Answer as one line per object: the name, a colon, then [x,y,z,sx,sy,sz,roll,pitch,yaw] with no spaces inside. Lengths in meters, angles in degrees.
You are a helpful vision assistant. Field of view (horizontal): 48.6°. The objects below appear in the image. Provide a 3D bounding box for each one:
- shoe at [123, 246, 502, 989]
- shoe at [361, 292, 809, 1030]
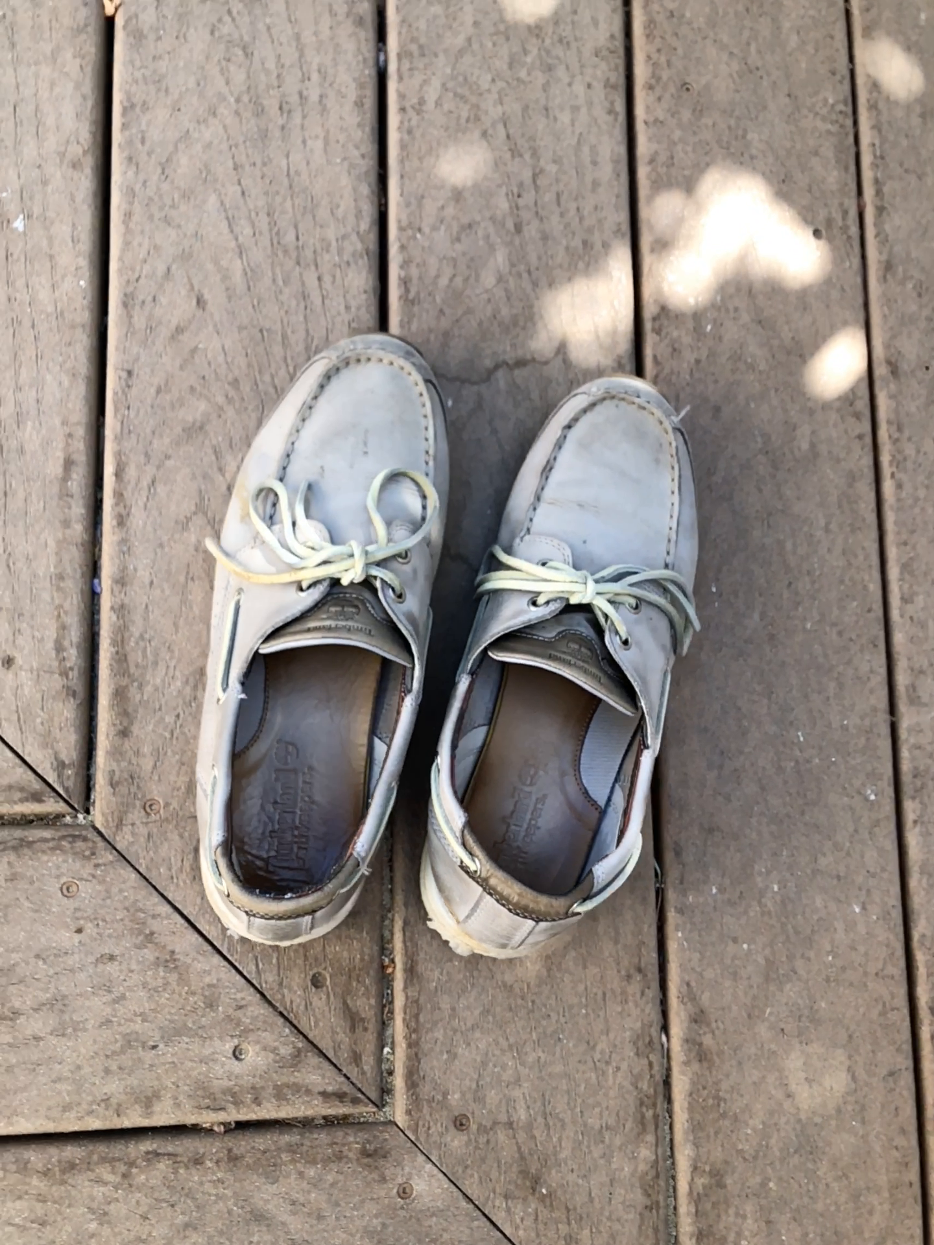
shoe: [-0.069,-0.001,0.492,0.119,0.096,0.310,8,80,-9]
shoe: [0.056,0.017,0.513,0.122,0.098,0.312,18,79,-7]
